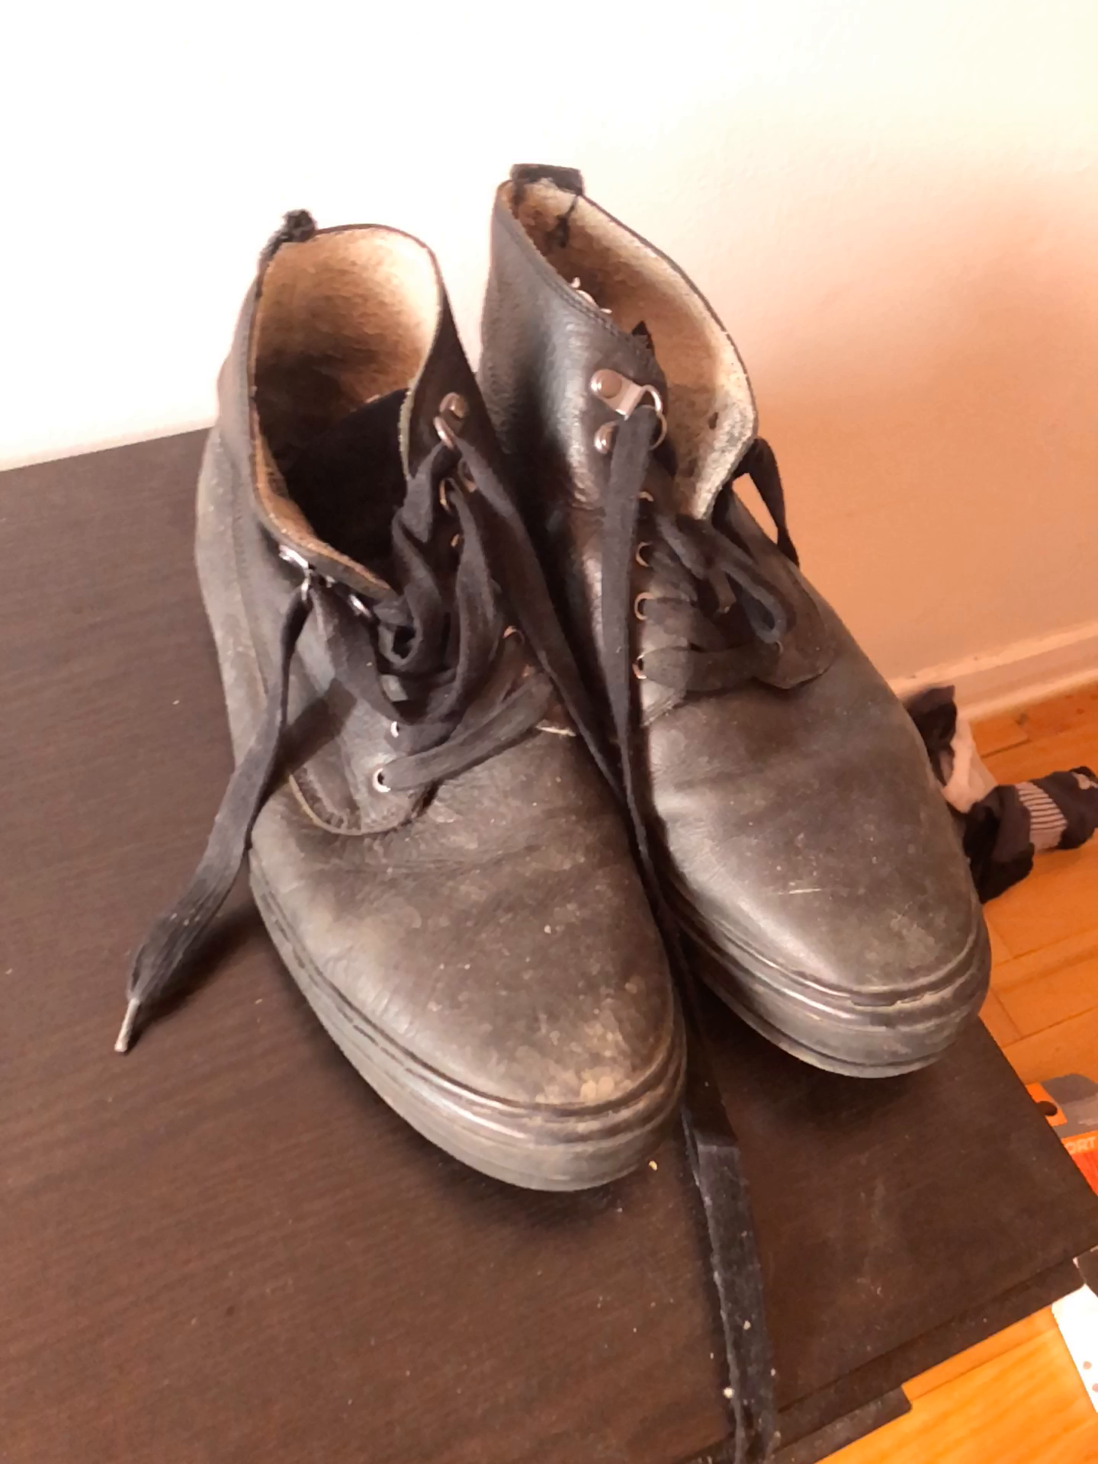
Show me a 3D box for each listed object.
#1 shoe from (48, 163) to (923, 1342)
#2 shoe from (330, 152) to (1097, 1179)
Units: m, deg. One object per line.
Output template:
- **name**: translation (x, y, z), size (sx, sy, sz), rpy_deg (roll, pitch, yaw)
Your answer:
- **shoe**: translation (-0.047, -0.023, 0.370), size (0.120, 0.109, 0.342), rpy_deg (-16, 58, -17)
- **shoe**: translation (0.047, -0.048, 0.414), size (0.120, 0.109, 0.342), rpy_deg (-20, 59, -19)
